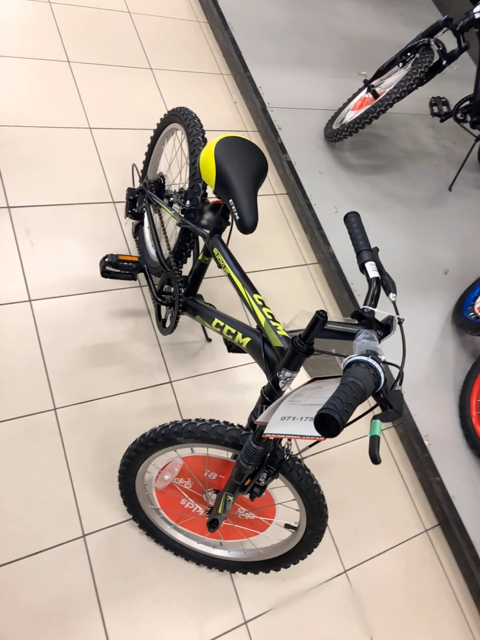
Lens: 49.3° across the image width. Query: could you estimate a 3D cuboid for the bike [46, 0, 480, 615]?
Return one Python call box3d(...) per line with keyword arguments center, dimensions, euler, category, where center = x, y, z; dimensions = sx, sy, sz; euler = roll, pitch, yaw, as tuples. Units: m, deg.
box3d(center=(0.009, -0.109, 1.141), dimensions=(0.551, 0.861, 1.195), euler=(-8, 67, -28), category="bike")
